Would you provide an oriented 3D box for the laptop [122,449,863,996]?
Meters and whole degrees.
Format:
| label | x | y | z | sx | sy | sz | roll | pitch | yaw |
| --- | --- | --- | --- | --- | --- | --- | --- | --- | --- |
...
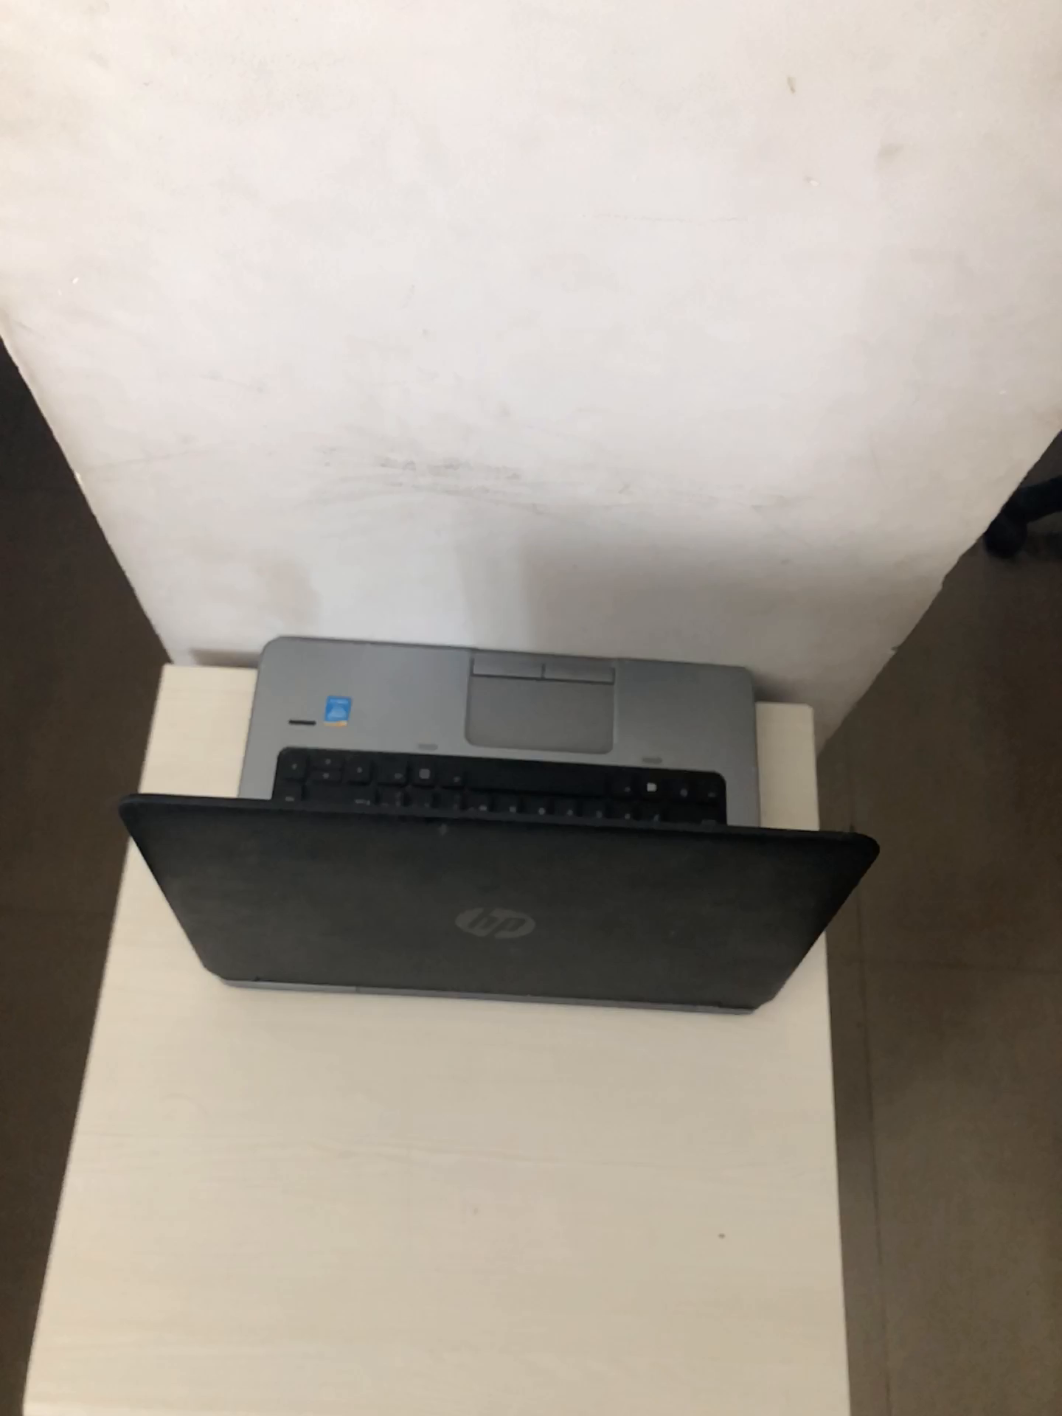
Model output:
| label | x | y | z | sx | sy | sz | roll | pitch | yaw |
| --- | --- | --- | --- | --- | --- | --- | --- | --- | --- |
| laptop | -0.013 | 0.025 | 0.641 | 0.317 | 0.226 | 0.204 | 4 | 68 | -2 |
